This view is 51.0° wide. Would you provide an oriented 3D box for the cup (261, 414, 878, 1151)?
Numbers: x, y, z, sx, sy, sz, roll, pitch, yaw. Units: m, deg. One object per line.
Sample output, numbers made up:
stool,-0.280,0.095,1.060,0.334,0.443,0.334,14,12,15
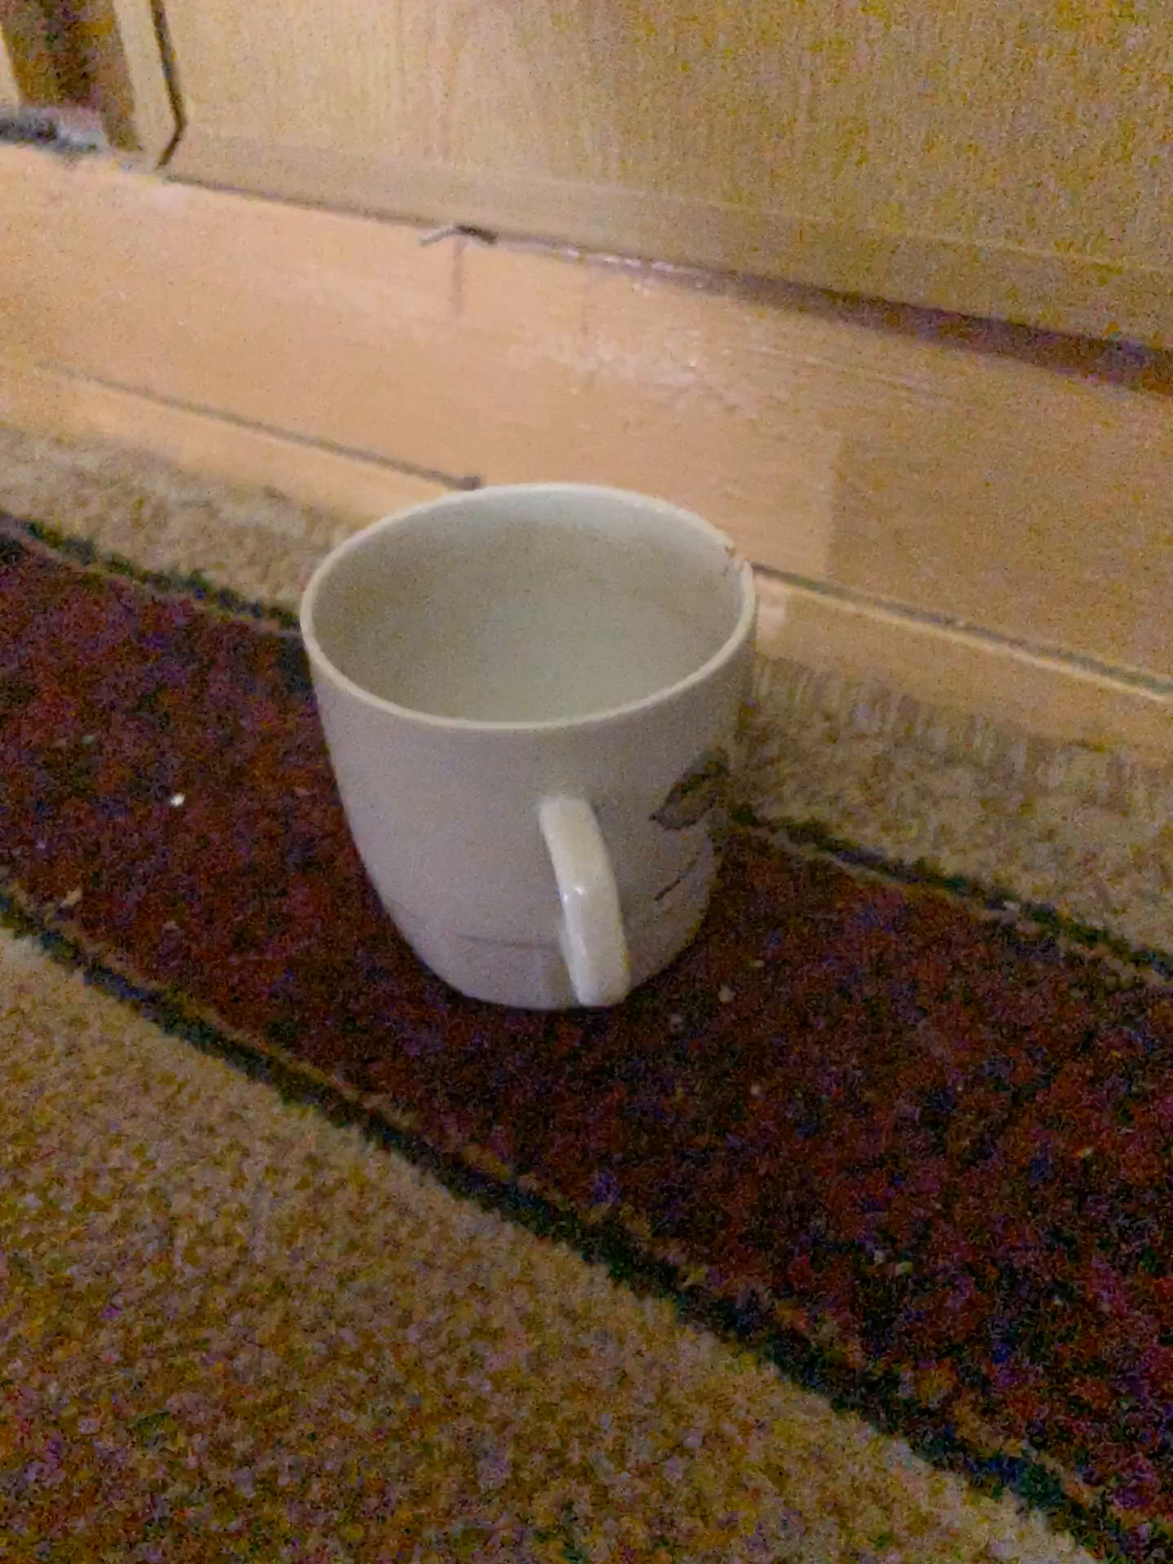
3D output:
cup,-0.011,-0.008,0.238,0.081,0.075,0.114,-11,39,-11
